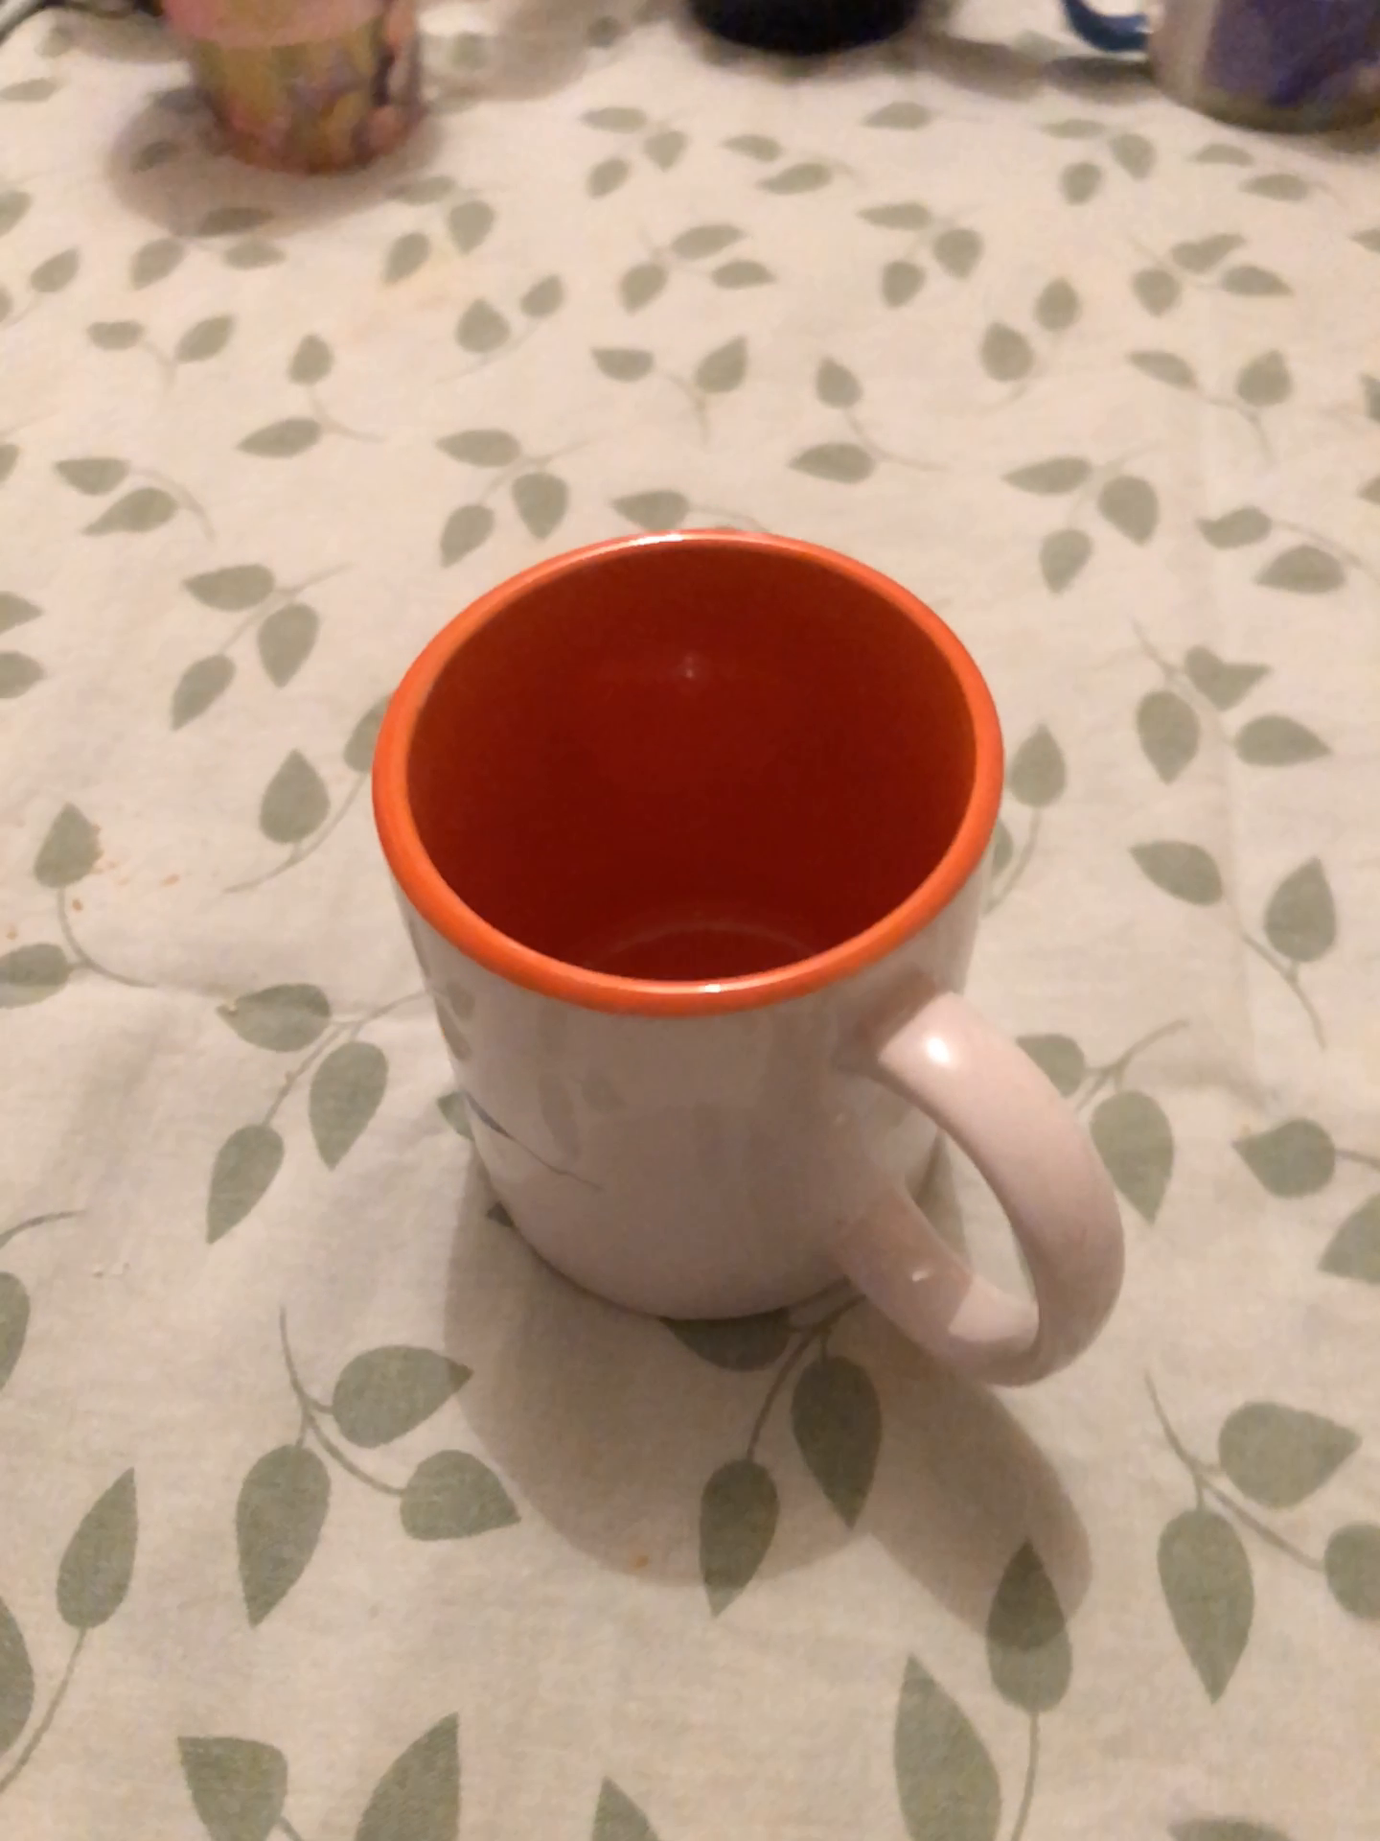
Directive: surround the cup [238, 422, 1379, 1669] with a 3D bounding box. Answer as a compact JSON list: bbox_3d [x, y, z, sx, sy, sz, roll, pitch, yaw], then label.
[{"bbox_3d":[0.012,0.017,0.218,0.080,0.099,0.120,-31,60,-20],"label":"cup"}]
